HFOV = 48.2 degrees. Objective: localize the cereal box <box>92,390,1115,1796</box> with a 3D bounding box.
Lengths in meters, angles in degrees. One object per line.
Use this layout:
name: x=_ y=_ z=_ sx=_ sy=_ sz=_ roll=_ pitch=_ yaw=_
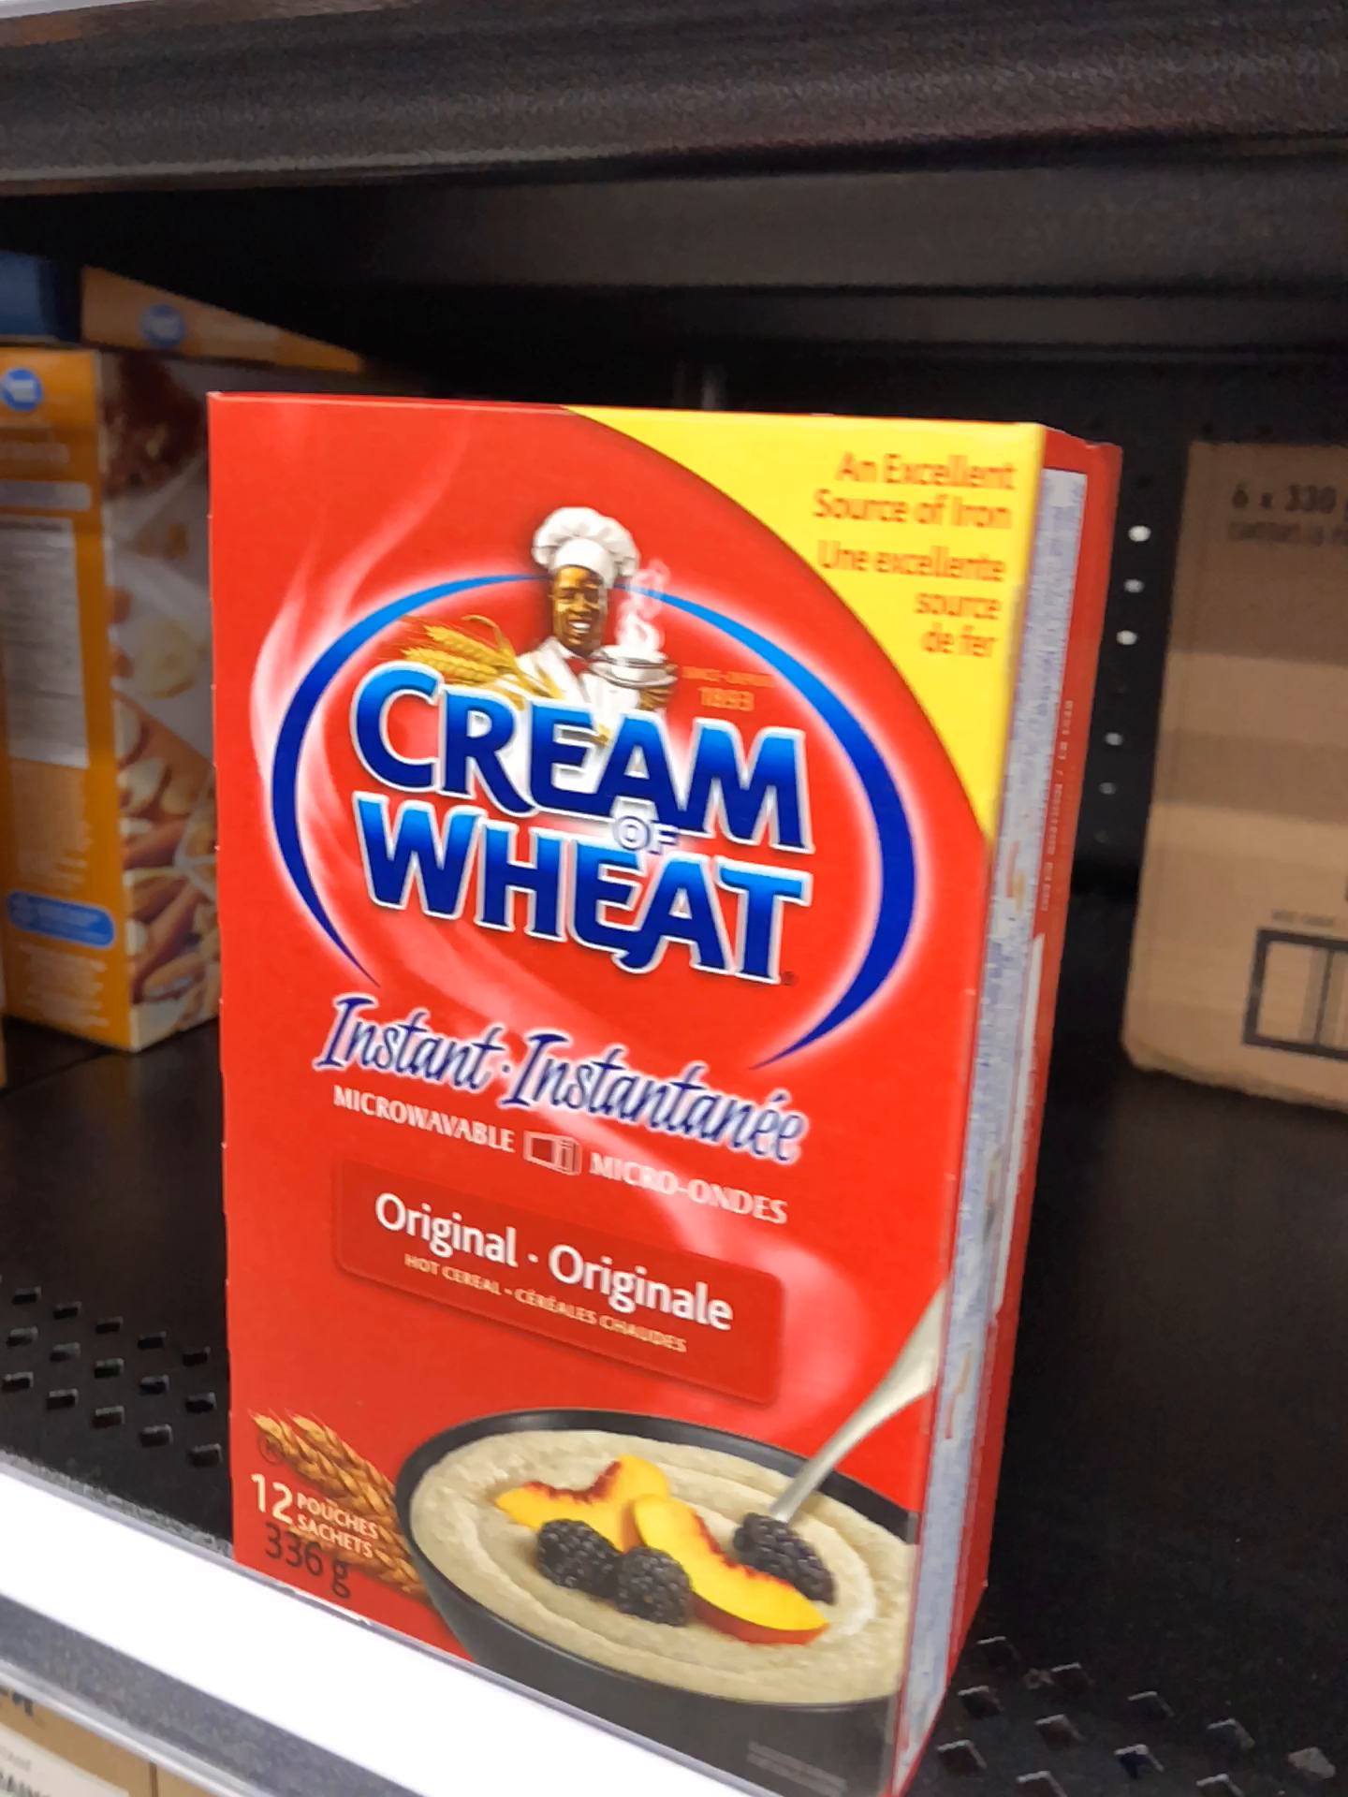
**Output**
cereal box: x=-0.014 y=0.023 z=0.236 sx=0.130 sy=0.189 sz=0.060 roll=10 pitch=17 yaw=24
